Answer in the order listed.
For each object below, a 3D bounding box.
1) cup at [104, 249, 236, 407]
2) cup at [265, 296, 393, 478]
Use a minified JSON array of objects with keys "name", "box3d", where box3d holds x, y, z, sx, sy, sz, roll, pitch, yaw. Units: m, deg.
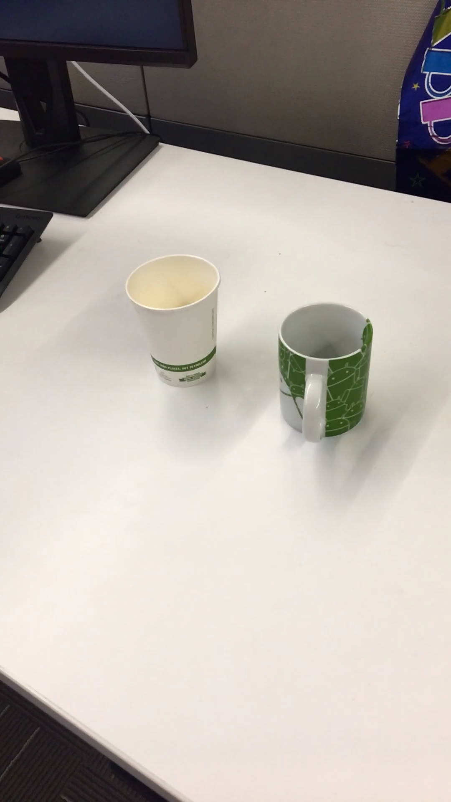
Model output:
[{"name":"cup","box3d":[-0.047,-0.070,0.635,0.090,0.110,0.090,-3,45,3]},{"name":"cup","box3d":[0.090,-0.014,0.575,0.090,0.090,0.120,6,46,12]}]
